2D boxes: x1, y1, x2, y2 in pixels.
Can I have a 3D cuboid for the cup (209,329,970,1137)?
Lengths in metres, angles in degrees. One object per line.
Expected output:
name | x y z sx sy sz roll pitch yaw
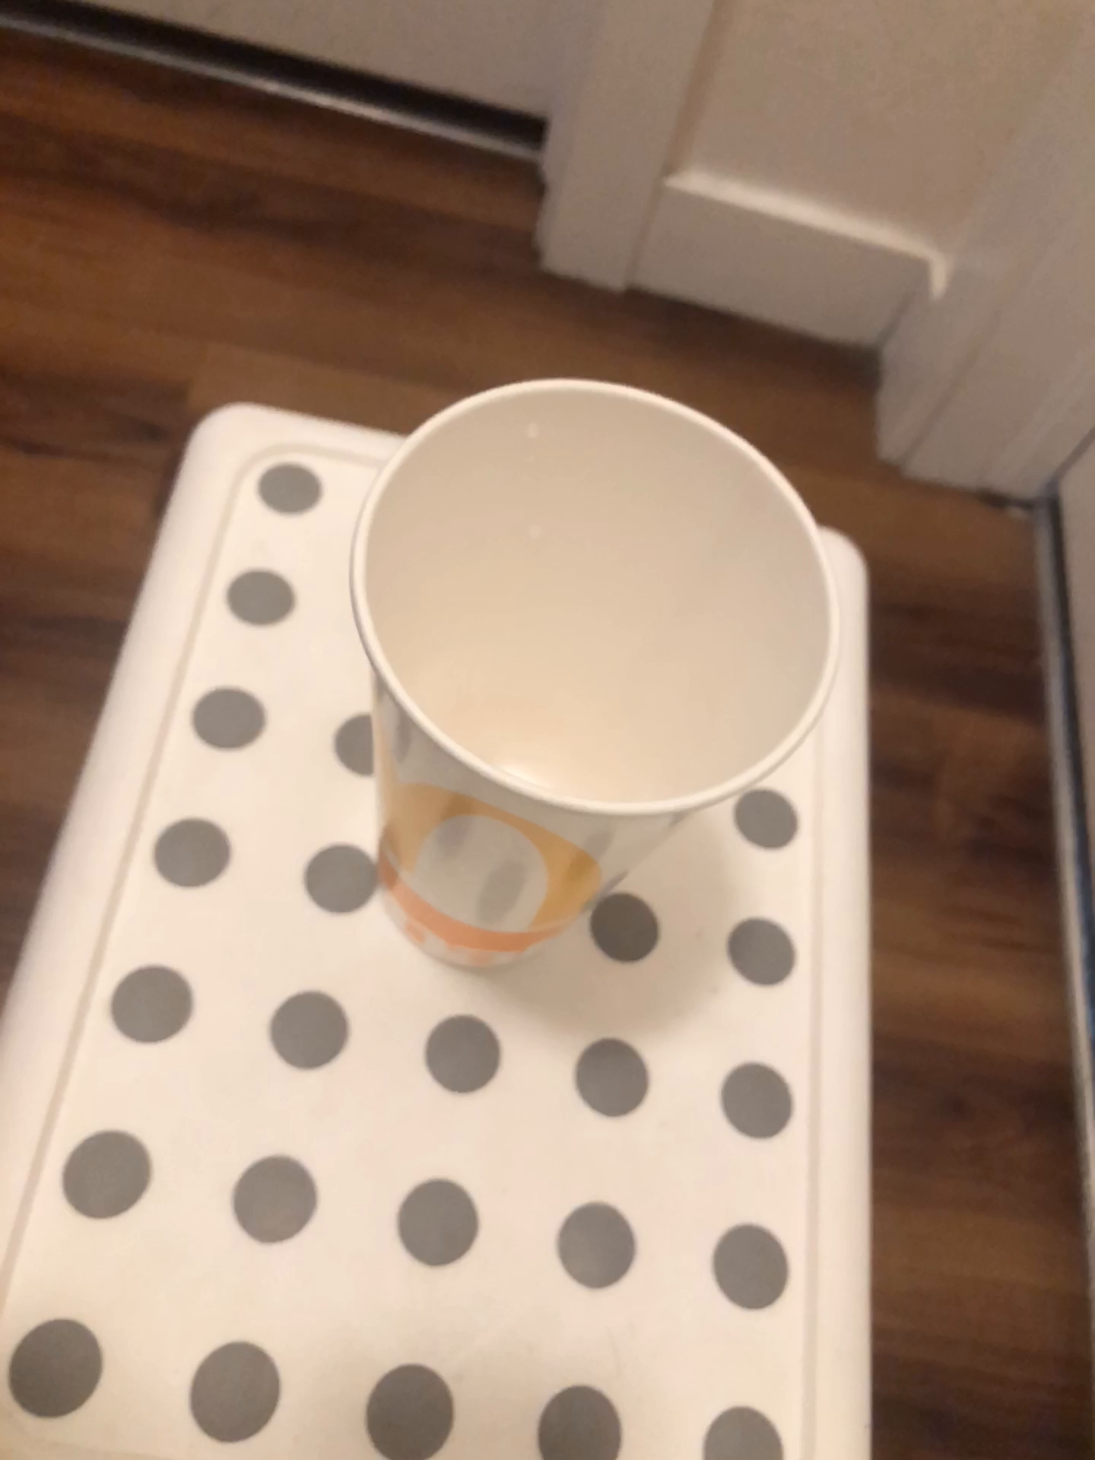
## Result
cup | -0.005 0.012 0.284 0.099 0.155 0.100 4 64 -9
